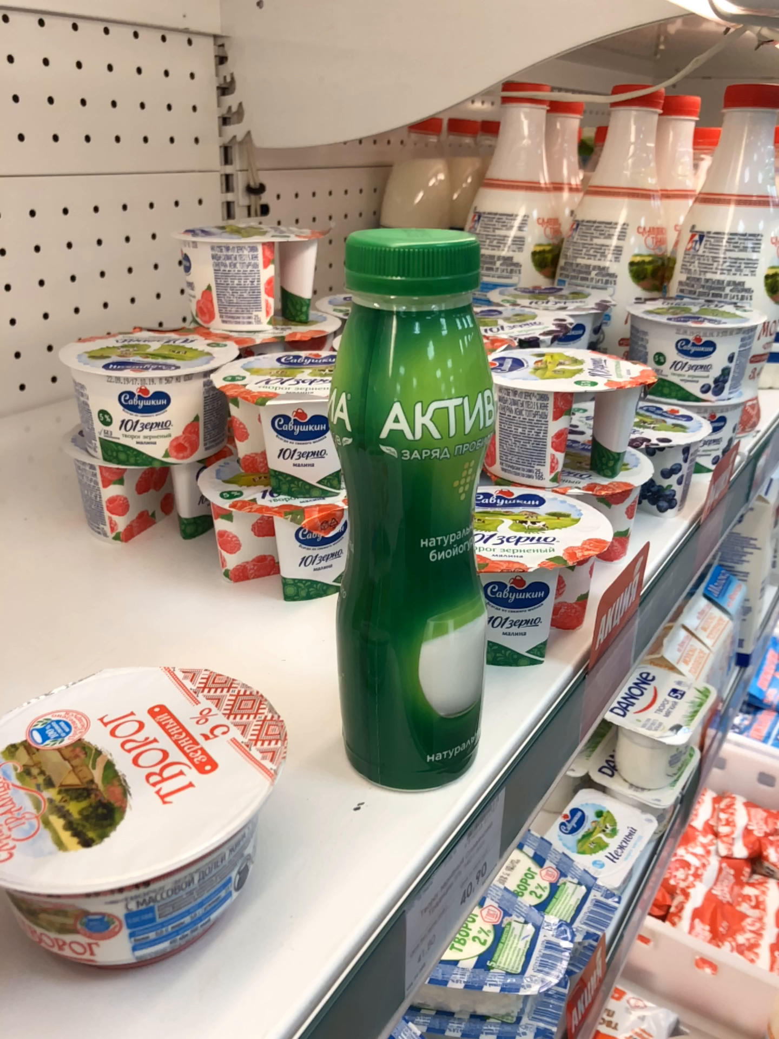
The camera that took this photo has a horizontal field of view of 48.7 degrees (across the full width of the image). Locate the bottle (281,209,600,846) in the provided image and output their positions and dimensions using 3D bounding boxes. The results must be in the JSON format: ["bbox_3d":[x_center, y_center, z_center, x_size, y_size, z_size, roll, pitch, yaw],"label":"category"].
[{"bbox_3d":[0.014,0.001,0.285,0.070,0.189,0.060,-20,31,-40],"label":"bottle"}]
